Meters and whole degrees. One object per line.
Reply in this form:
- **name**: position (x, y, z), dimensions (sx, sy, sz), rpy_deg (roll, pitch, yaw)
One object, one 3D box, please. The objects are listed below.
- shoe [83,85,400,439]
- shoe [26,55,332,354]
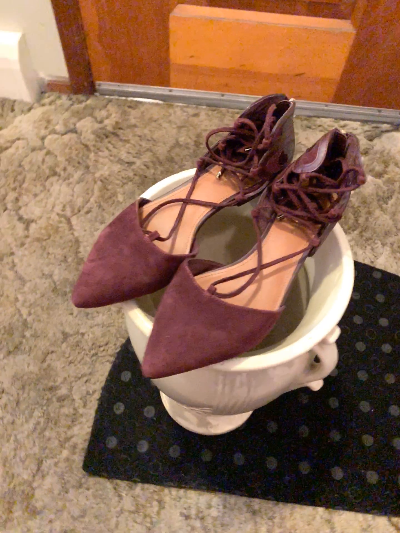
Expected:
- **shoe**: position (0.049, -0.014, 0.327), dimensions (0.090, 0.070, 0.281), rpy_deg (35, 72, 19)
- **shoe**: position (-0.010, -0.060, 0.379), dimensions (0.090, 0.070, 0.281), rpy_deg (41, 81, 22)
